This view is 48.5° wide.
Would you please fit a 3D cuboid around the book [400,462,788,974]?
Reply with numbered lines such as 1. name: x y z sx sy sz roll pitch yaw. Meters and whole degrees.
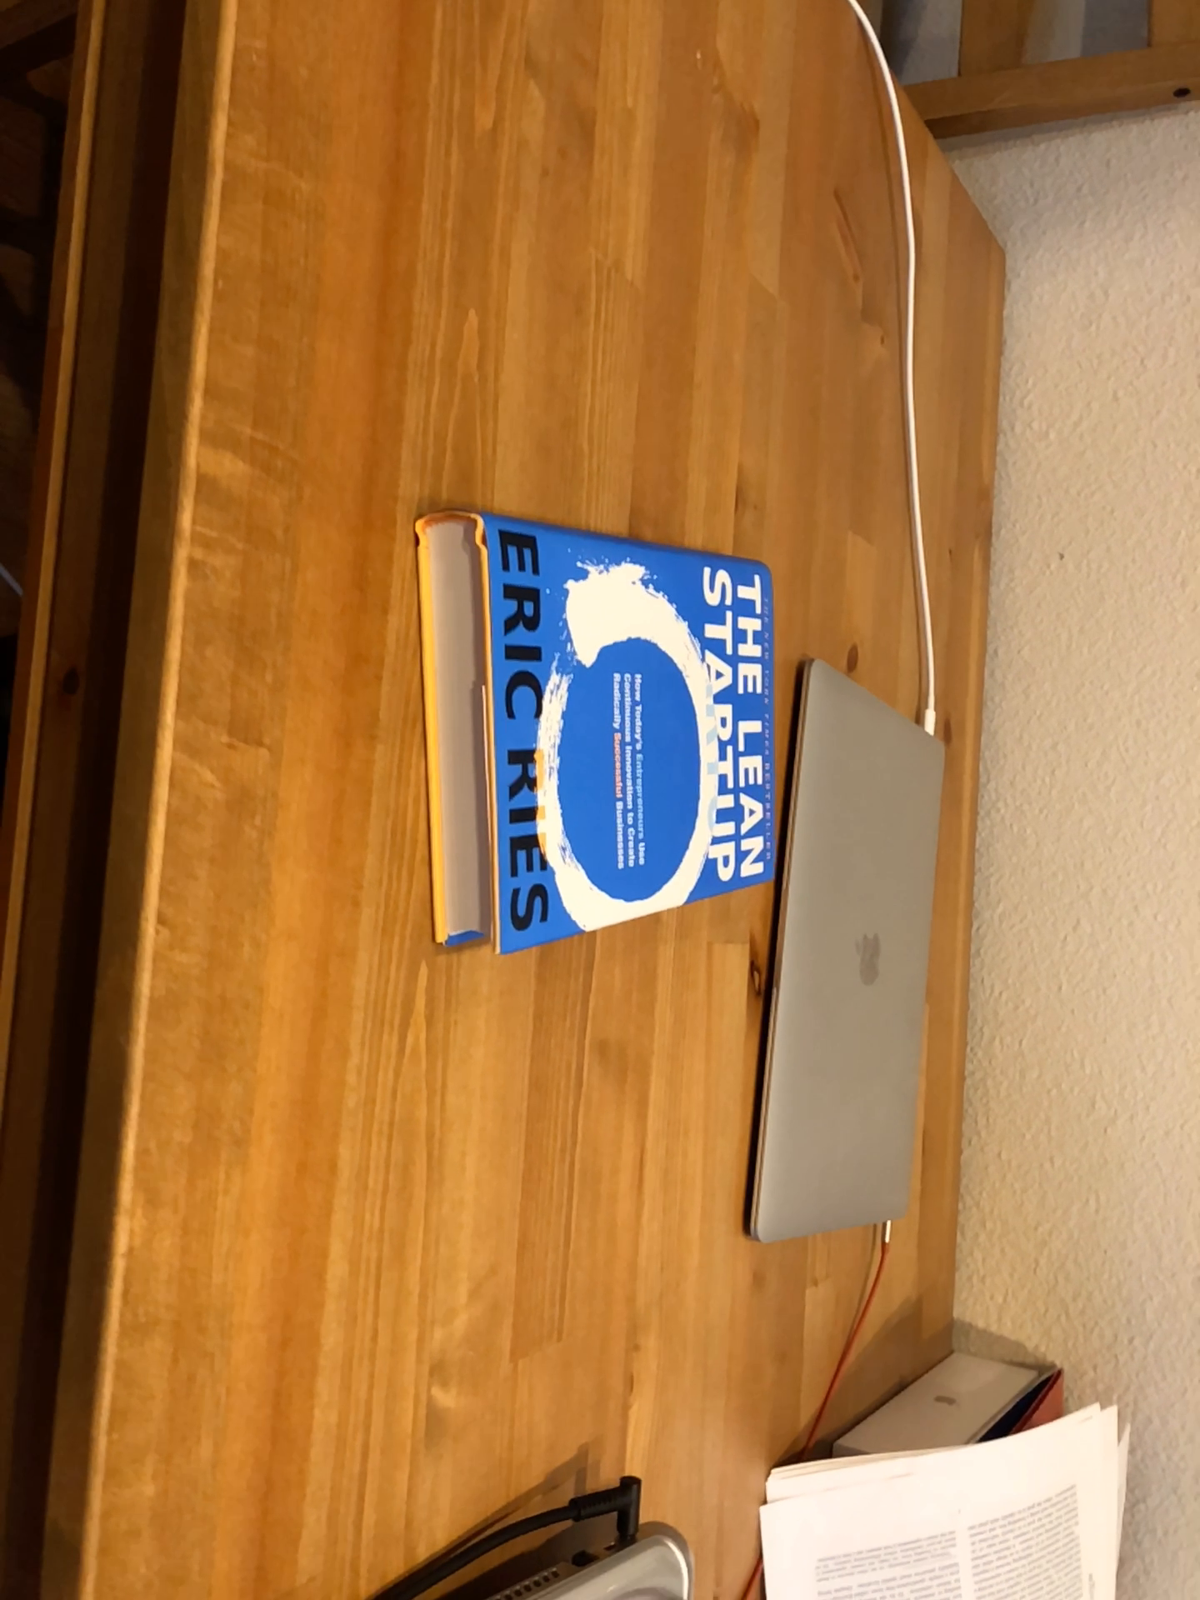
1. book: 0.010 -0.032 0.517 0.211 0.040 0.160 -8 97 -58
